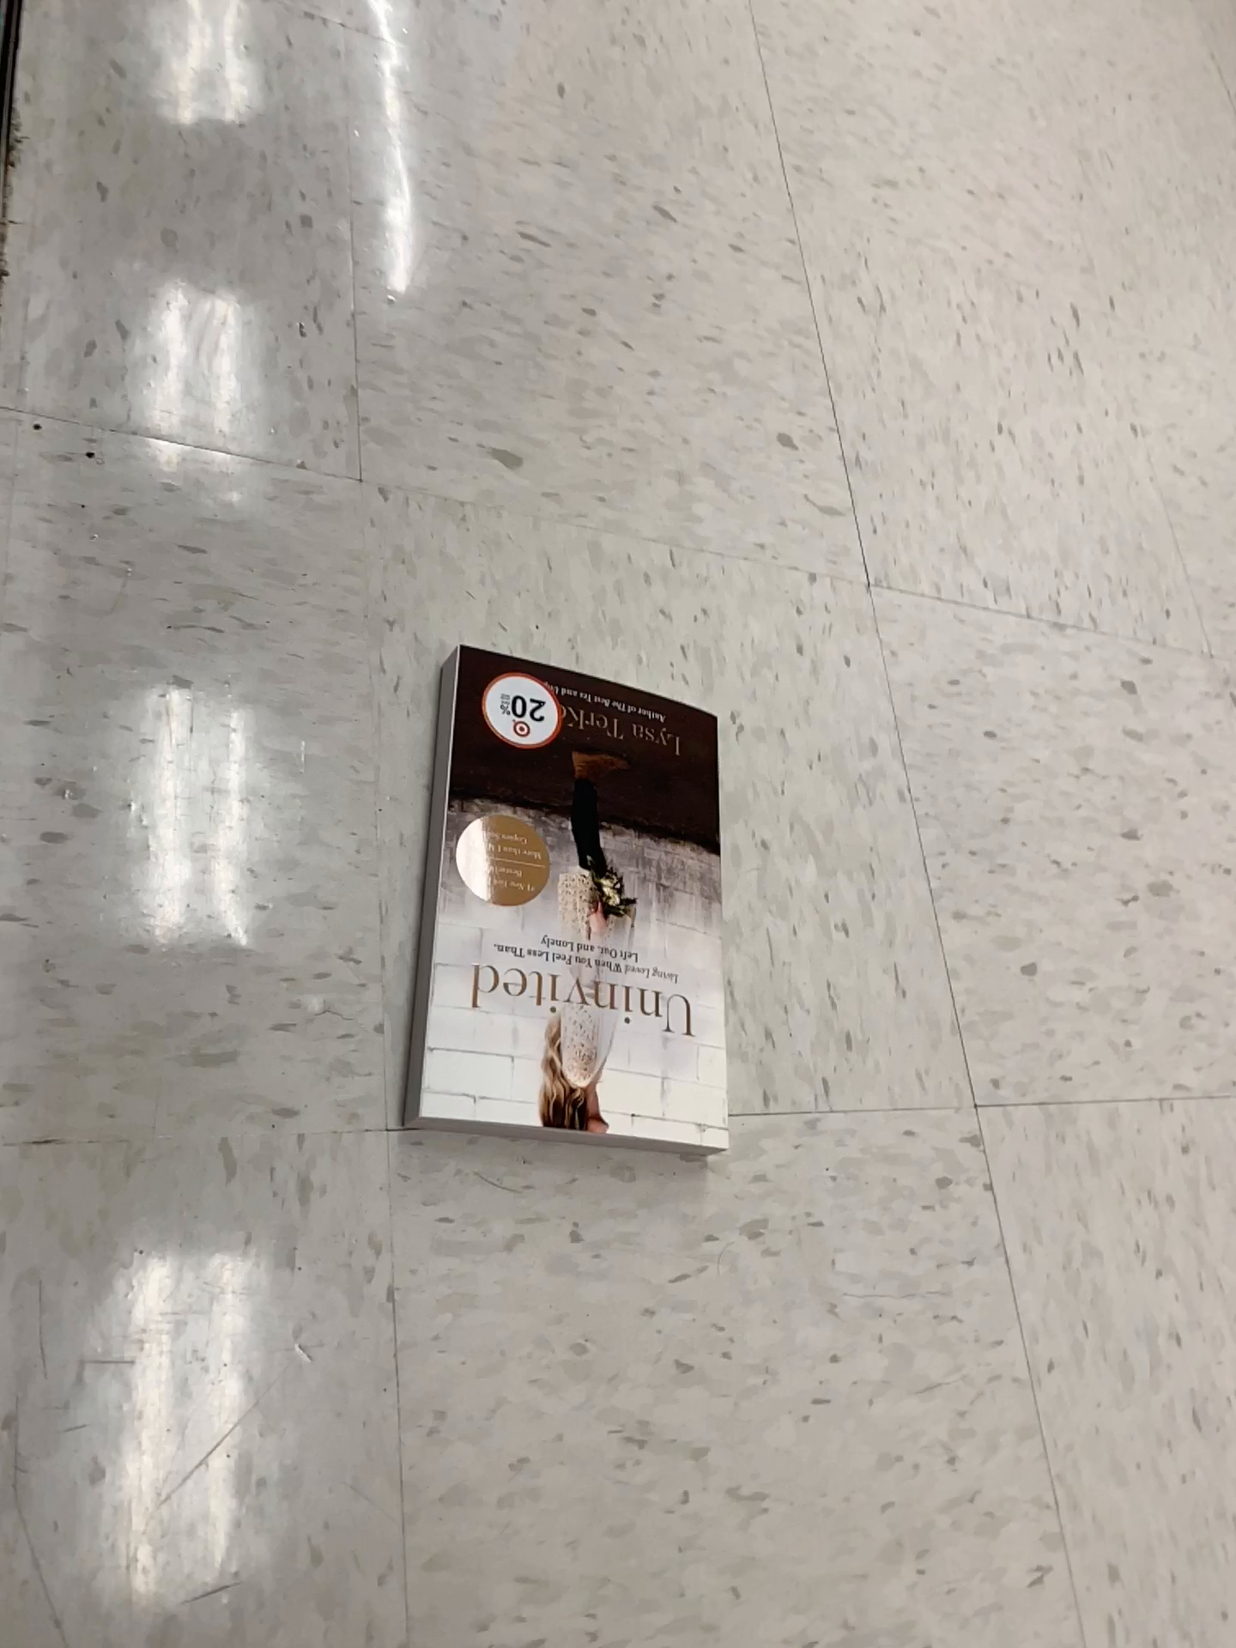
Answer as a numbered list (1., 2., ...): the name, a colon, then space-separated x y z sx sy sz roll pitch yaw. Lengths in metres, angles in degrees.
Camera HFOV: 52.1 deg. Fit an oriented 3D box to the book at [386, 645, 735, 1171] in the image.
1. book: -0.020 0.036 0.550 0.140 0.030 0.210 12 63 -24
